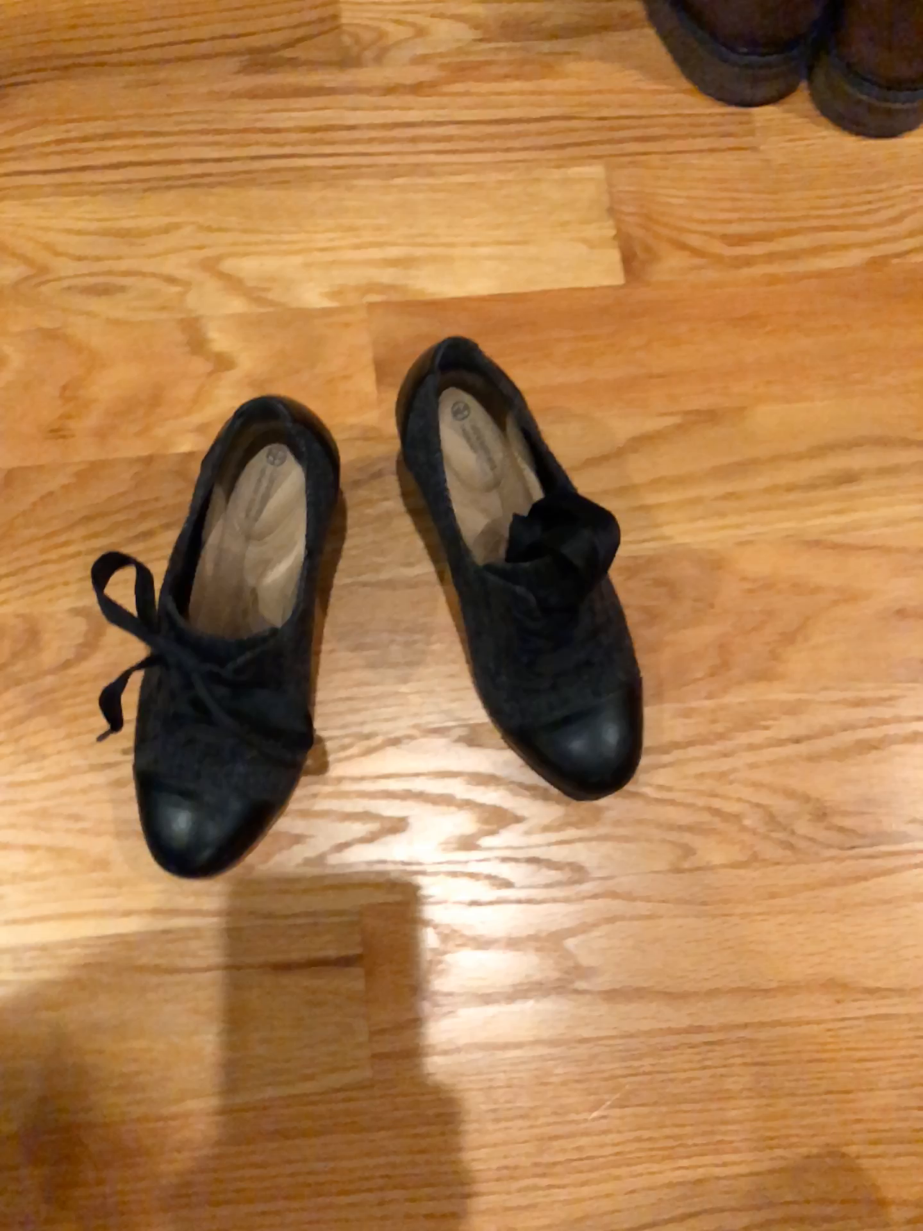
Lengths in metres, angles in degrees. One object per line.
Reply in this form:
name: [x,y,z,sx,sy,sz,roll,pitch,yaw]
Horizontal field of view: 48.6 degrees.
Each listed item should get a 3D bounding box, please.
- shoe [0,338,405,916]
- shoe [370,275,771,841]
shoe: [-0.102,0.012,0.469,0.093,0.125,0.223,14,75,2]
shoe: [0.039,-0.019,0.482,0.088,0.125,0.223,-20,76,-6]
